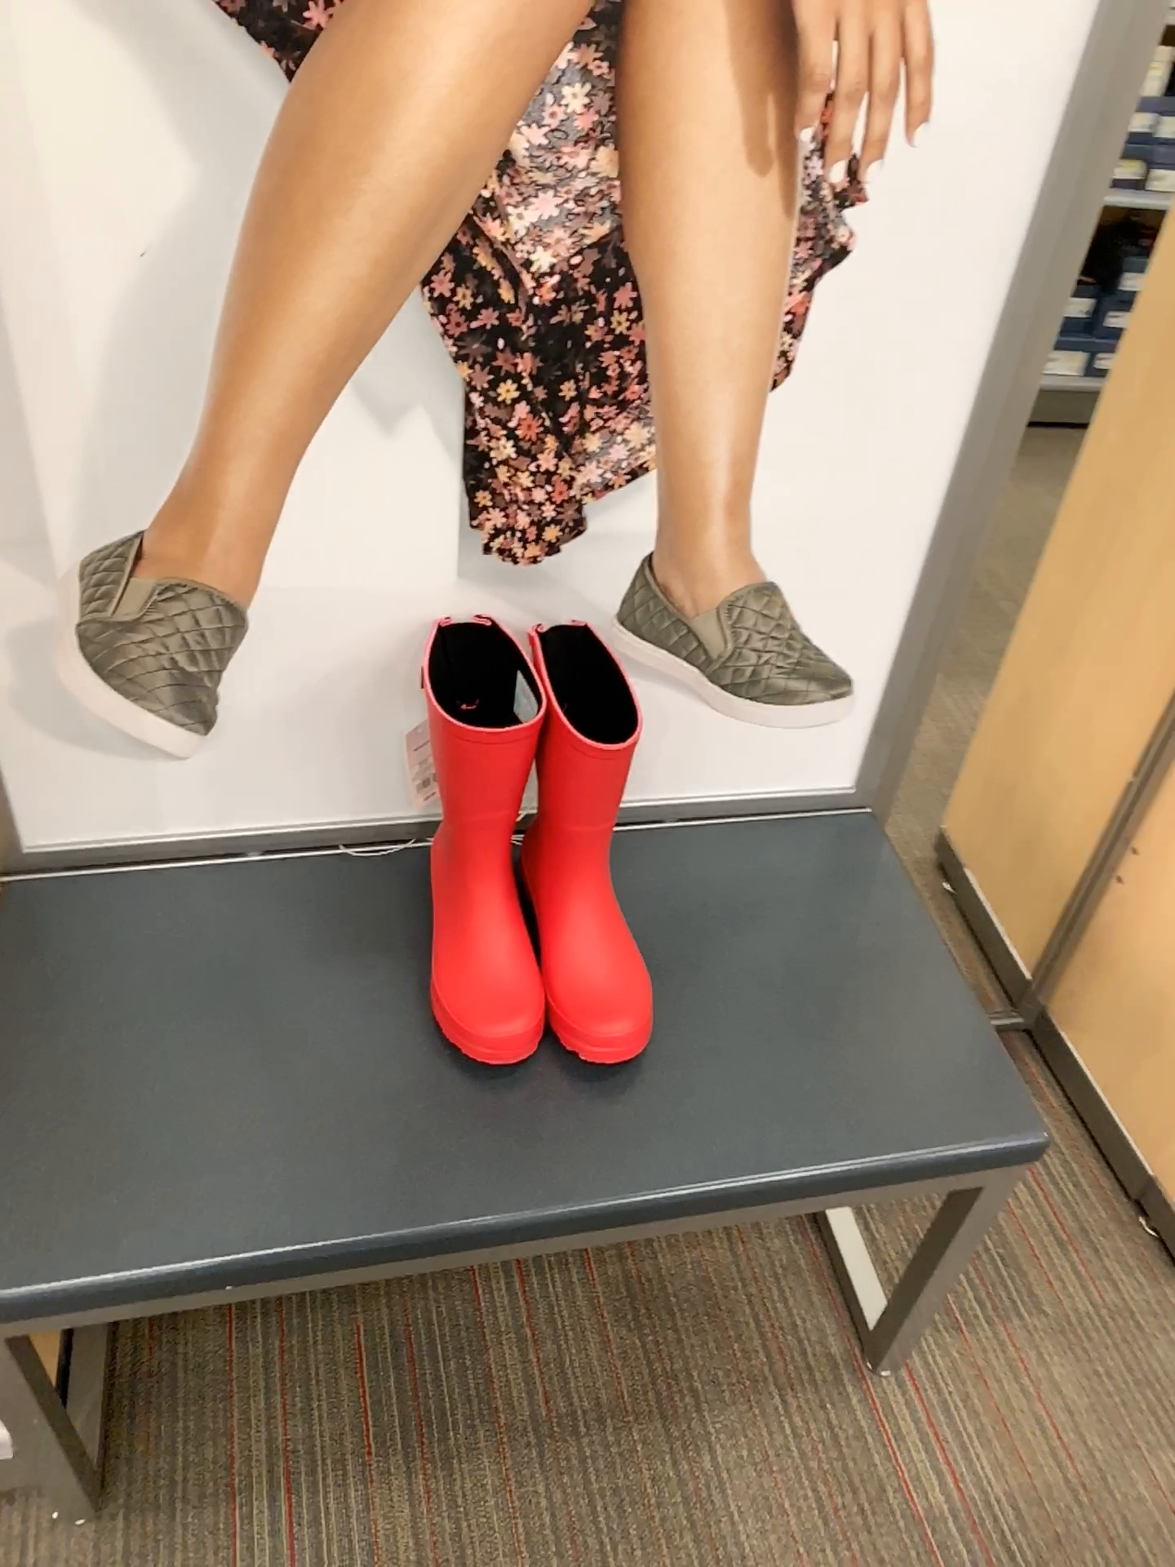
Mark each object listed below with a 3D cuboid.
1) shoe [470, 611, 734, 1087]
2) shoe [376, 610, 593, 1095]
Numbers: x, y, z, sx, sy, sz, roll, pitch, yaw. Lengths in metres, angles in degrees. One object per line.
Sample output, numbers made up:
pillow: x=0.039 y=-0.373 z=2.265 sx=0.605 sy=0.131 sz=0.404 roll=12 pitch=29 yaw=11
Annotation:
shoe: x=-0.006 y=0.046 z=0.954 sx=0.106 sy=0.249 sz=0.271 roll=-8 pitch=43 yaw=-17
shoe: x=-0.093 y=0.048 z=0.931 sx=0.106 sy=0.249 sz=0.271 roll=-5 pitch=42 yaw=-15
